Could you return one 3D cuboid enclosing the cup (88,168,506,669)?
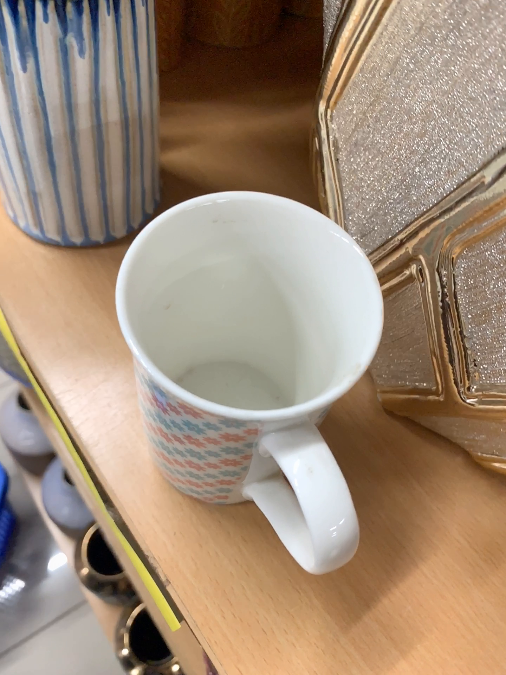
[{"bbox_3d":[0.004,0.031,0.185,0.080,0.110,0.120,-16,63,-19],"label":"cup"}]
